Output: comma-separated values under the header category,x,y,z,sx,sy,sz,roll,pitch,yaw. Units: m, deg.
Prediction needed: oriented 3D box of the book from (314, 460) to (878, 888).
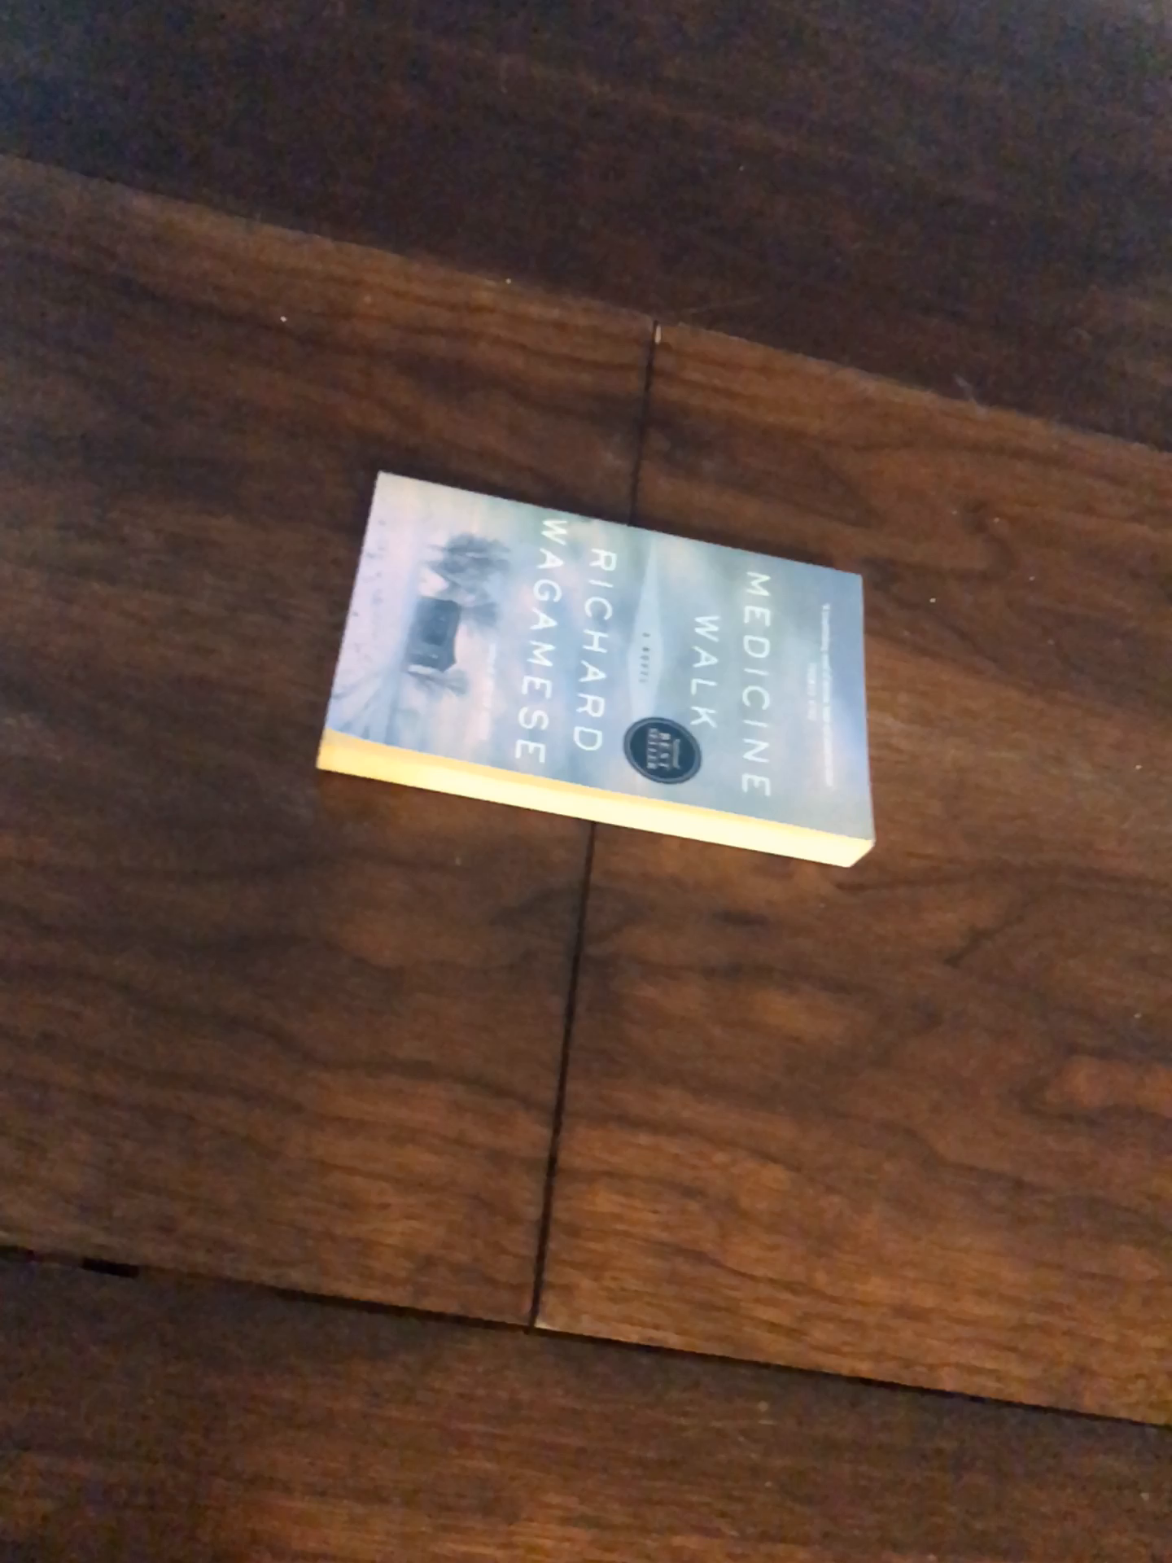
category,x,y,z,sx,sy,sz,roll,pitch,yaw
book,0.011,-0.044,0.510,0.206,0.027,0.138,11,58,-8
